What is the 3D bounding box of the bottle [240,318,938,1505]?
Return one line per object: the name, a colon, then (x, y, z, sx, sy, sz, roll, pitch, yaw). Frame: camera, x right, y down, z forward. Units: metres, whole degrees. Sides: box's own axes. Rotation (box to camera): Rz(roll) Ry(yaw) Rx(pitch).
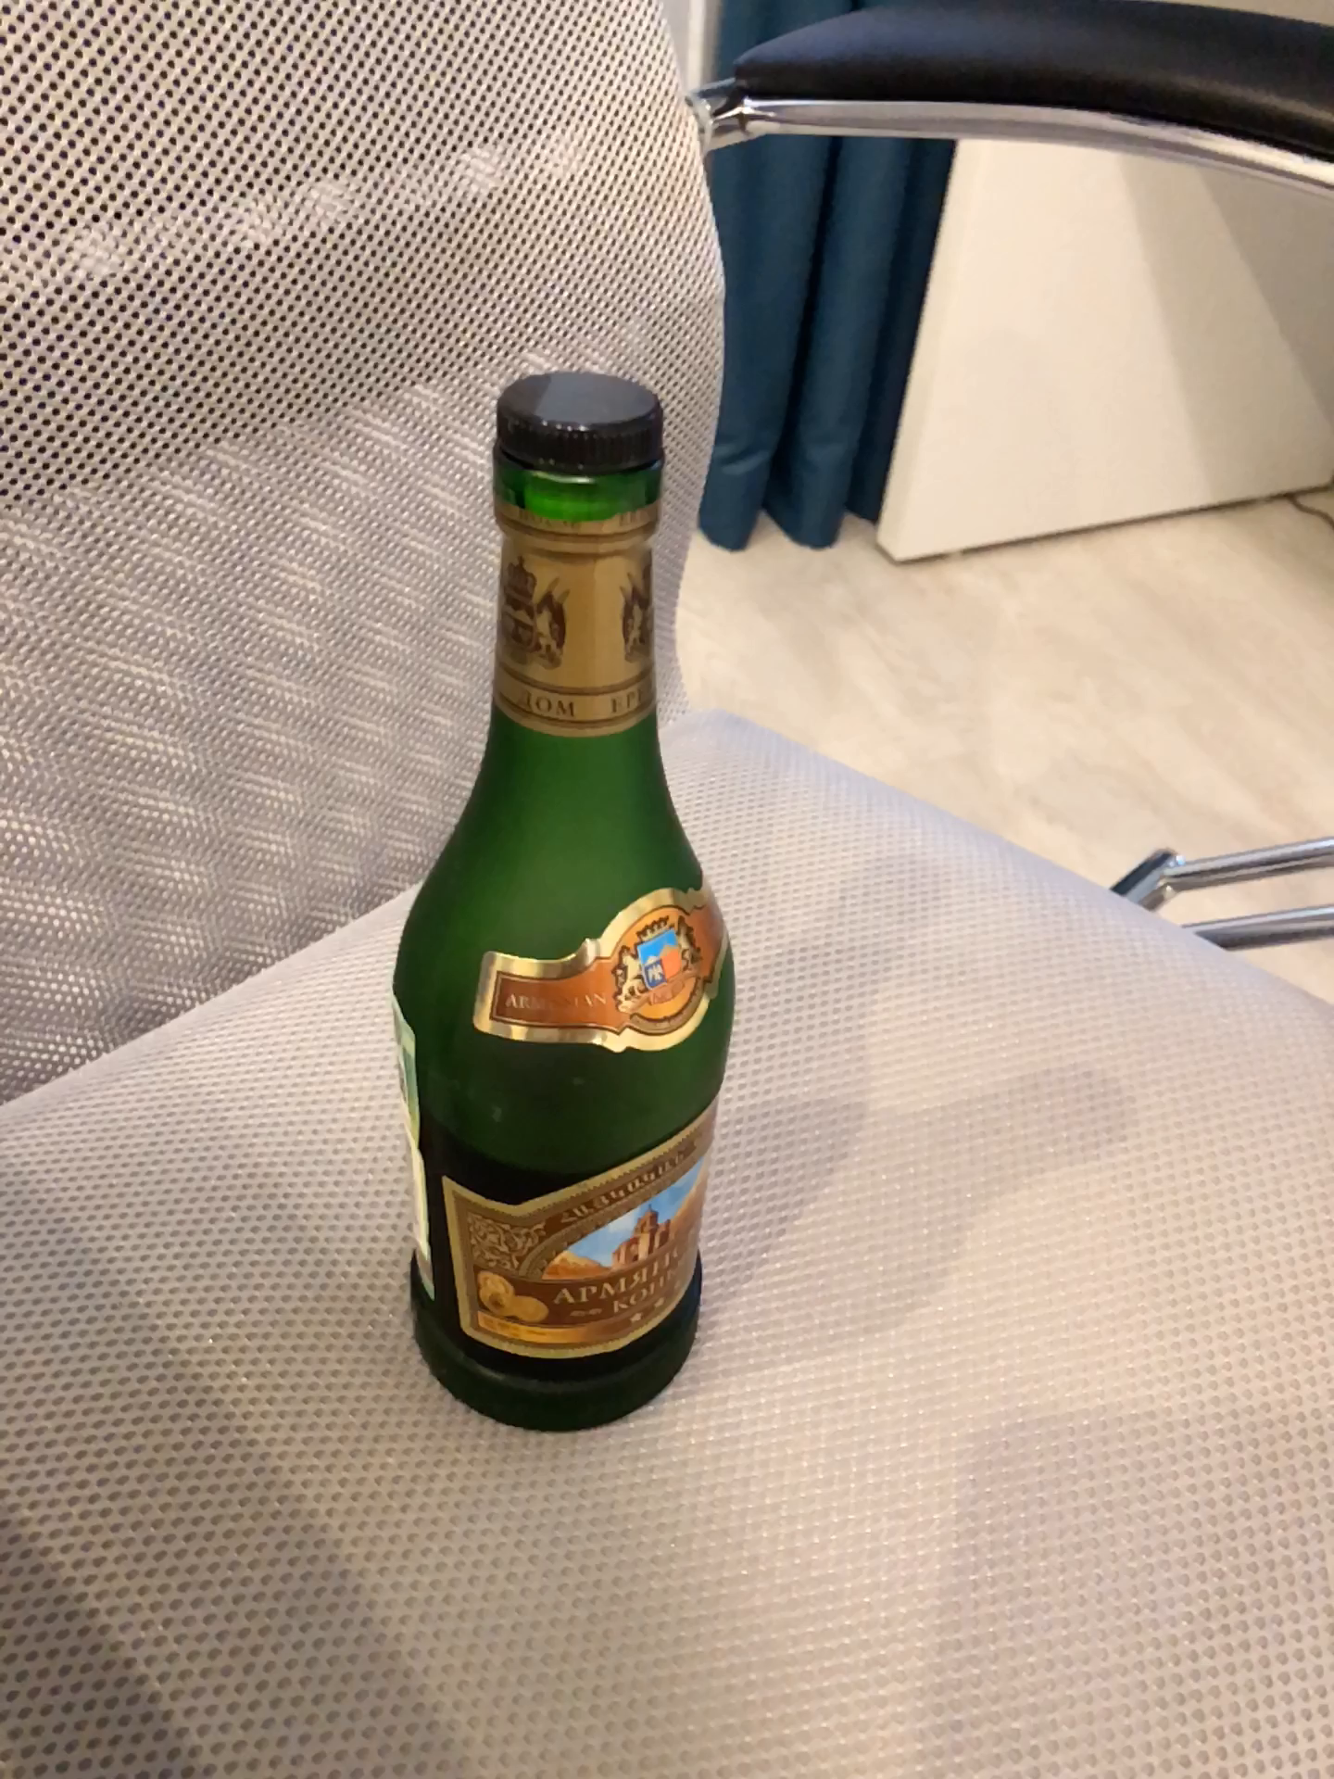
bottle: (-0.020, 0.021, 0.305, 0.078, 0.238, 0.074, 3, 42, -3)
